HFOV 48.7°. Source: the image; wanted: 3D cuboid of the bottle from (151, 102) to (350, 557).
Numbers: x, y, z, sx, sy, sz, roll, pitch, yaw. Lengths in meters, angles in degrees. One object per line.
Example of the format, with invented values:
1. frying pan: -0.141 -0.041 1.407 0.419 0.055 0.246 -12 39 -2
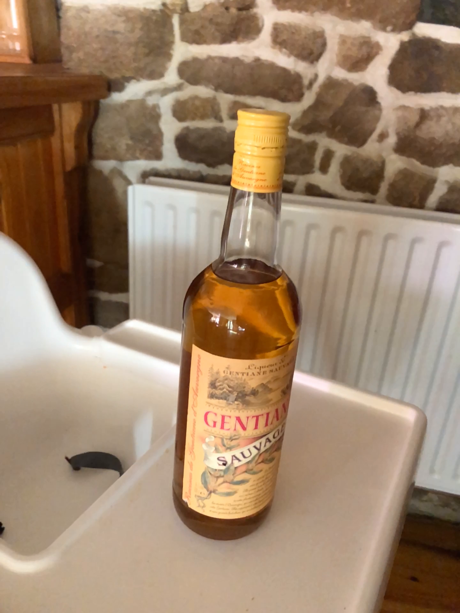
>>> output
1. bottle: -0.001 0.023 0.353 0.090 0.298 0.080 -6 27 -21
